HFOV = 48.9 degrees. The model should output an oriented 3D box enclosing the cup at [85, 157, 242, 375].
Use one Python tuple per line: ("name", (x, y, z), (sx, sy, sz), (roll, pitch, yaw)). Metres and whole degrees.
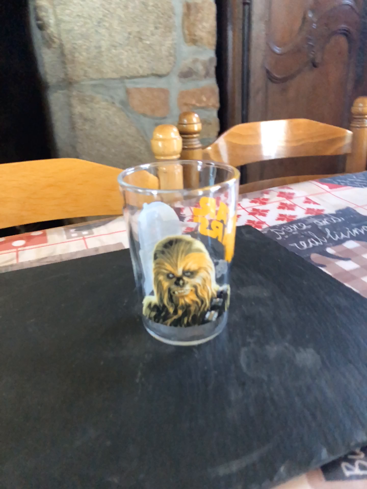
("cup", (-0.003, 0.008, 0.229), (0.070, 0.099, 0.070), (-2, 23, 1))
